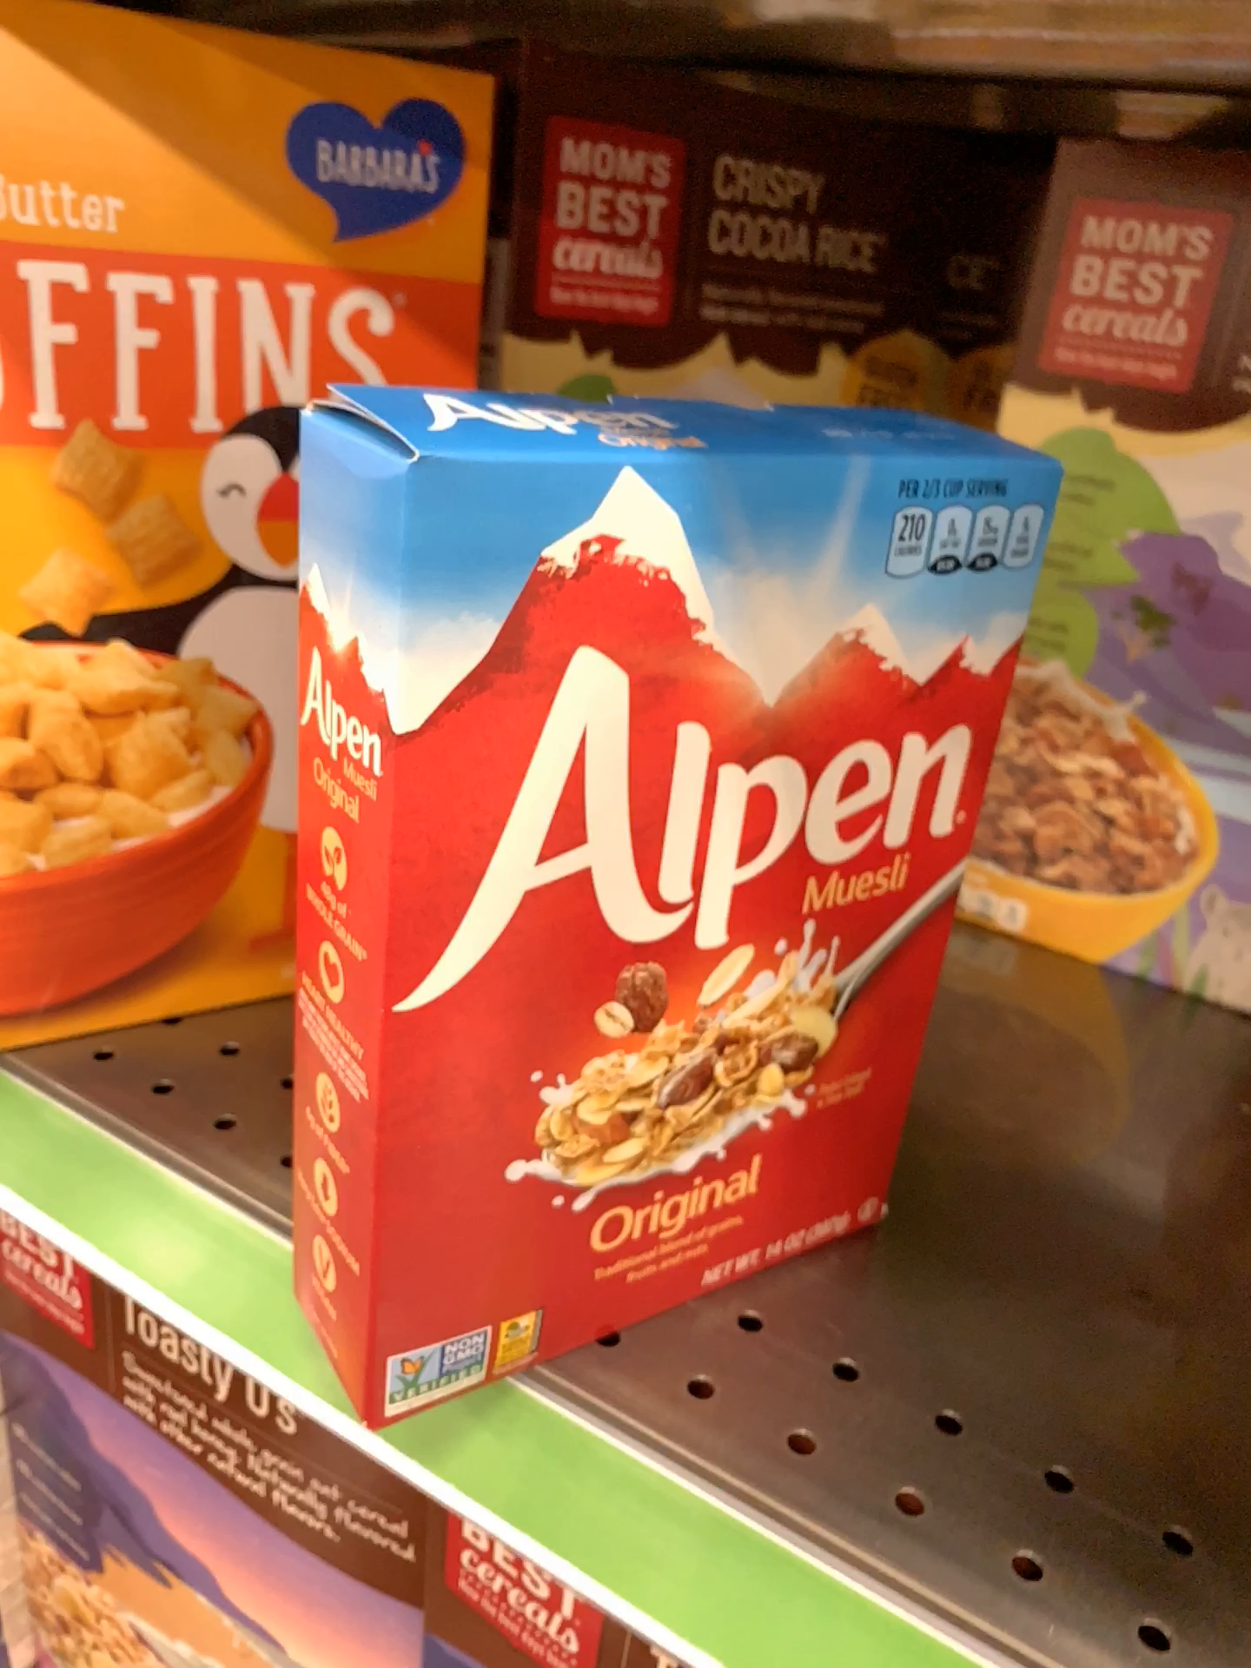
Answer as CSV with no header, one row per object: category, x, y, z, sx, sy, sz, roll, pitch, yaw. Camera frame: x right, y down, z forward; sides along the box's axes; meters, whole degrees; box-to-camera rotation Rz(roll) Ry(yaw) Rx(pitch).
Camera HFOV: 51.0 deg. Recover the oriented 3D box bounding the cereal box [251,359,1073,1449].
cereal box,0.004,0.013,0.287,0.160,0.209,0.040,-9,29,-32
